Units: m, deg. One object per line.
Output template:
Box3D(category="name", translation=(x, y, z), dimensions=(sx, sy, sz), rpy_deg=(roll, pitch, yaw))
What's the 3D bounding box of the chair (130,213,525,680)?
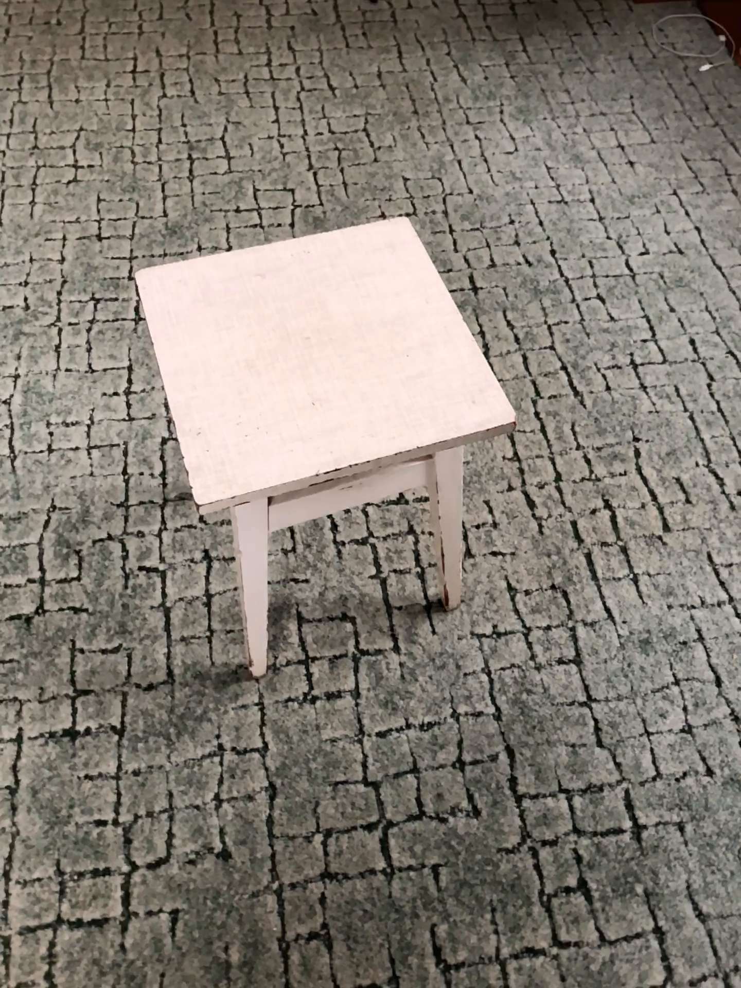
Box3D(category="chair", translation=(-0.064, -0.041, 1.049), dimensions=(0.334, 0.447, 0.333), rpy_deg=(-15, 59, -11))
